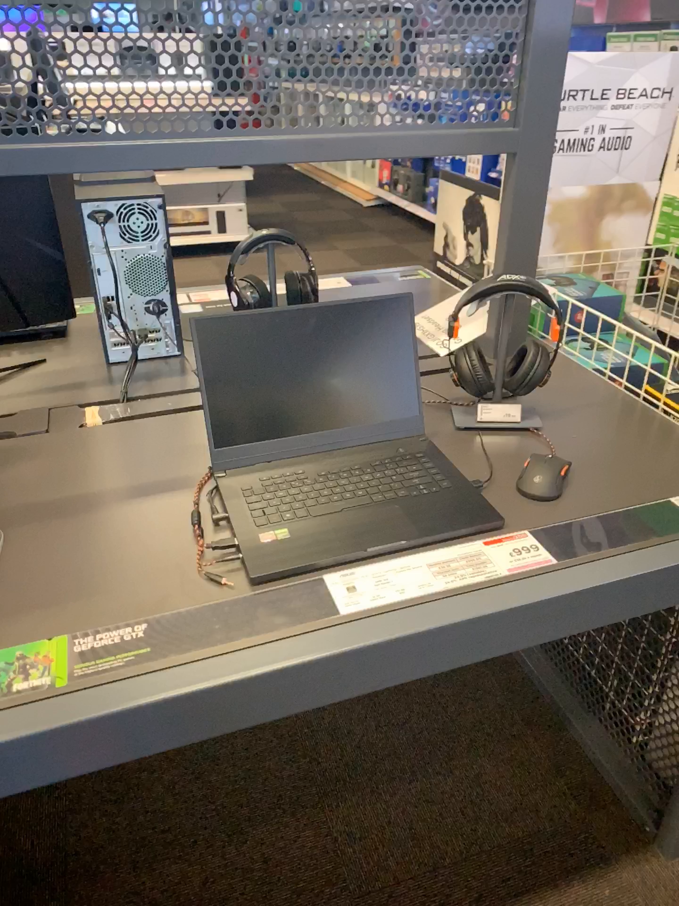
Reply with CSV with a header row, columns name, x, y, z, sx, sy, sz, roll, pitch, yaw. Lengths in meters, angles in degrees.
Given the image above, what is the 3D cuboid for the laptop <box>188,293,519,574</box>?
name,x,y,z,sx,sy,sz,roll,pitch,yaw
laptop,0.000,-0.054,0.963,0.348,0.203,0.325,-9,33,-18
